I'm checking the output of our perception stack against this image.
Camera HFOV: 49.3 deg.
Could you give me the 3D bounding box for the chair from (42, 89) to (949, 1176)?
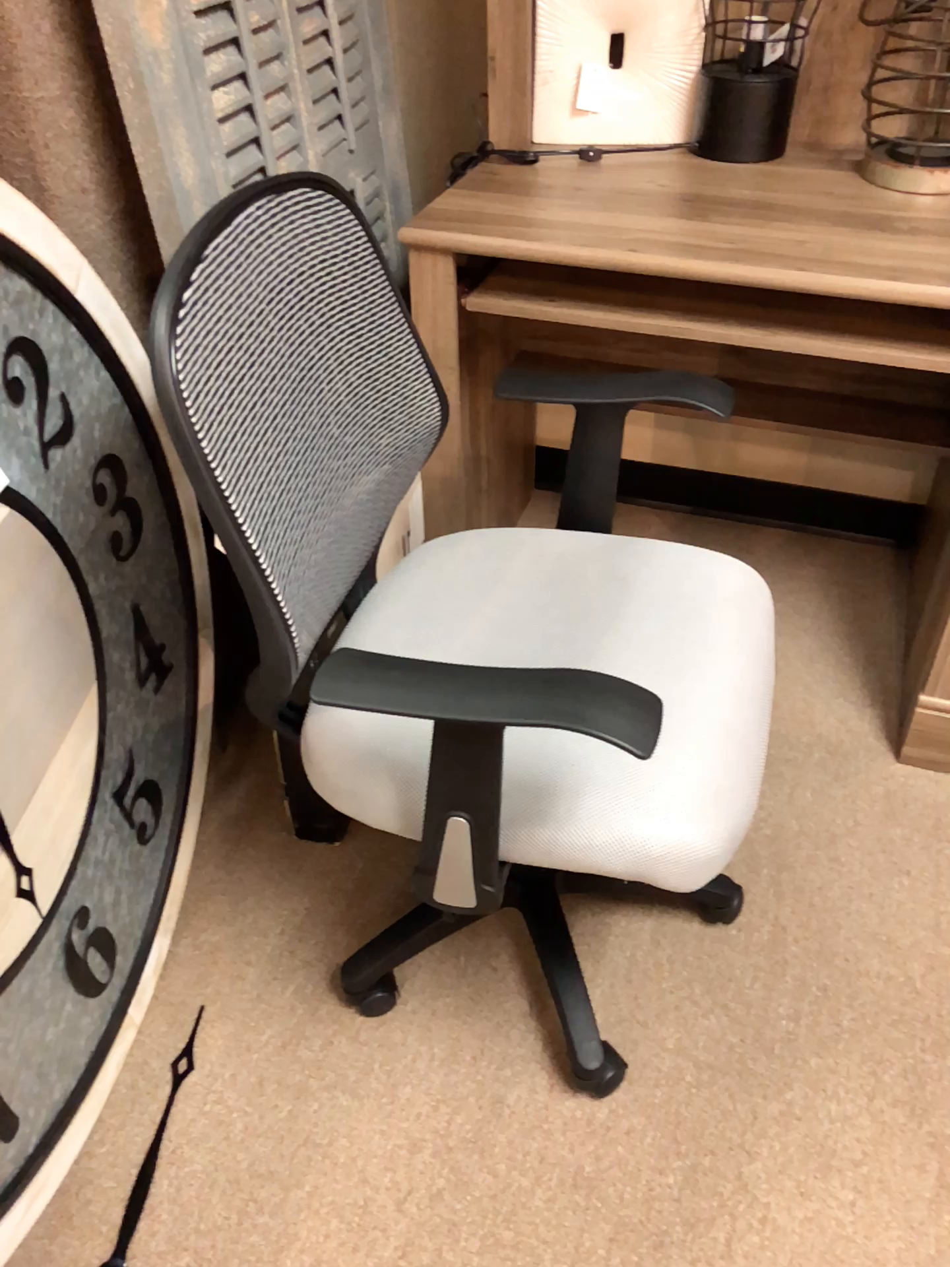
[{"bbox_3d":[0.137,-0.025,1.108,0.671,0.864,0.614,11,41,16],"label":"chair"}]
